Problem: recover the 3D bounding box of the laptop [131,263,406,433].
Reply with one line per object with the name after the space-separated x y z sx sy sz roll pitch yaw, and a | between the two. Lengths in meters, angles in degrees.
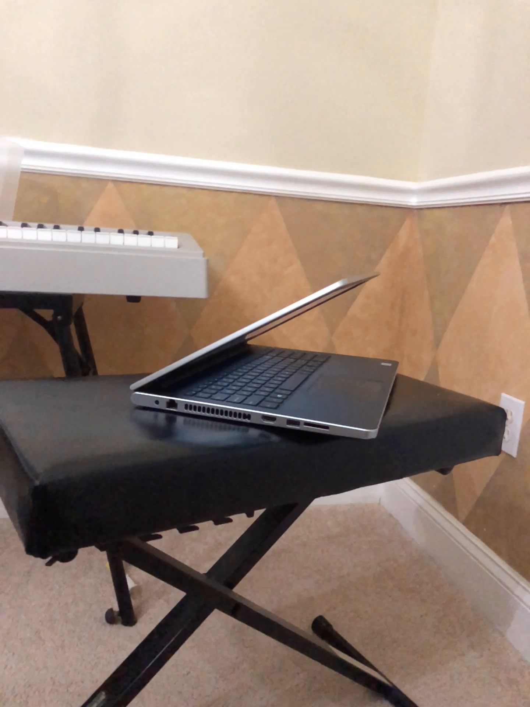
0.038 -0.036 0.759 0.256 0.132 0.377 8 11 14 | laptop
